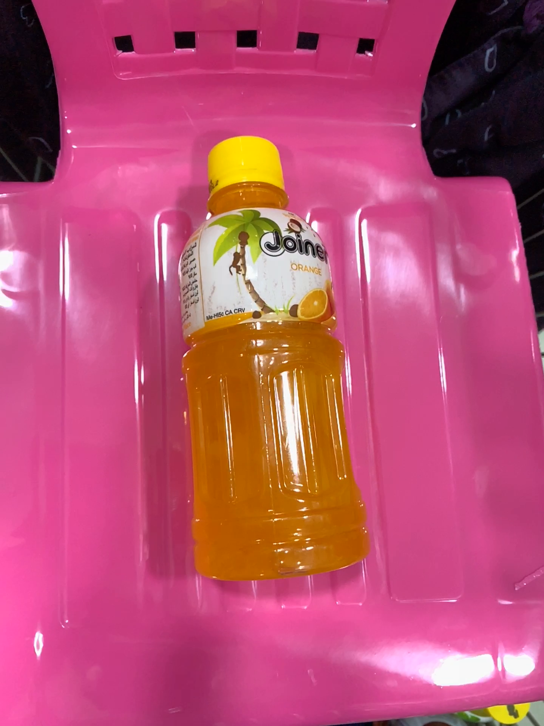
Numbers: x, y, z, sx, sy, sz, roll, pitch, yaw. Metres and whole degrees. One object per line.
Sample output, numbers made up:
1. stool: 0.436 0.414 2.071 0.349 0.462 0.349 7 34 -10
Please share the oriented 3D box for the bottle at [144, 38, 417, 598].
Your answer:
1. bottle: -0.002 -0.015 0.211 0.070 0.060 0.170 -1 83 -27
